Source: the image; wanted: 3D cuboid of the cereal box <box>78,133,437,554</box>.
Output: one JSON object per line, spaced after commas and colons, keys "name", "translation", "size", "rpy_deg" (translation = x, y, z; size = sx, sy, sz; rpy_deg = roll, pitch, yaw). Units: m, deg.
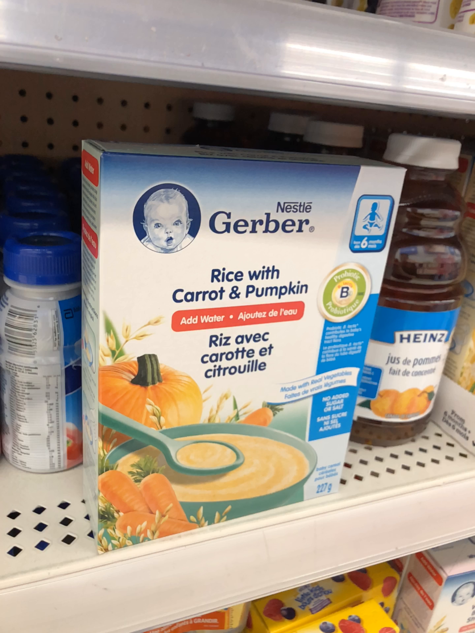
{"name": "cereal box", "translation": [0.003, 0.012, 0.264], "size": [0.150, 0.179, 0.050], "rpy_deg": [-4, 24, -26]}
